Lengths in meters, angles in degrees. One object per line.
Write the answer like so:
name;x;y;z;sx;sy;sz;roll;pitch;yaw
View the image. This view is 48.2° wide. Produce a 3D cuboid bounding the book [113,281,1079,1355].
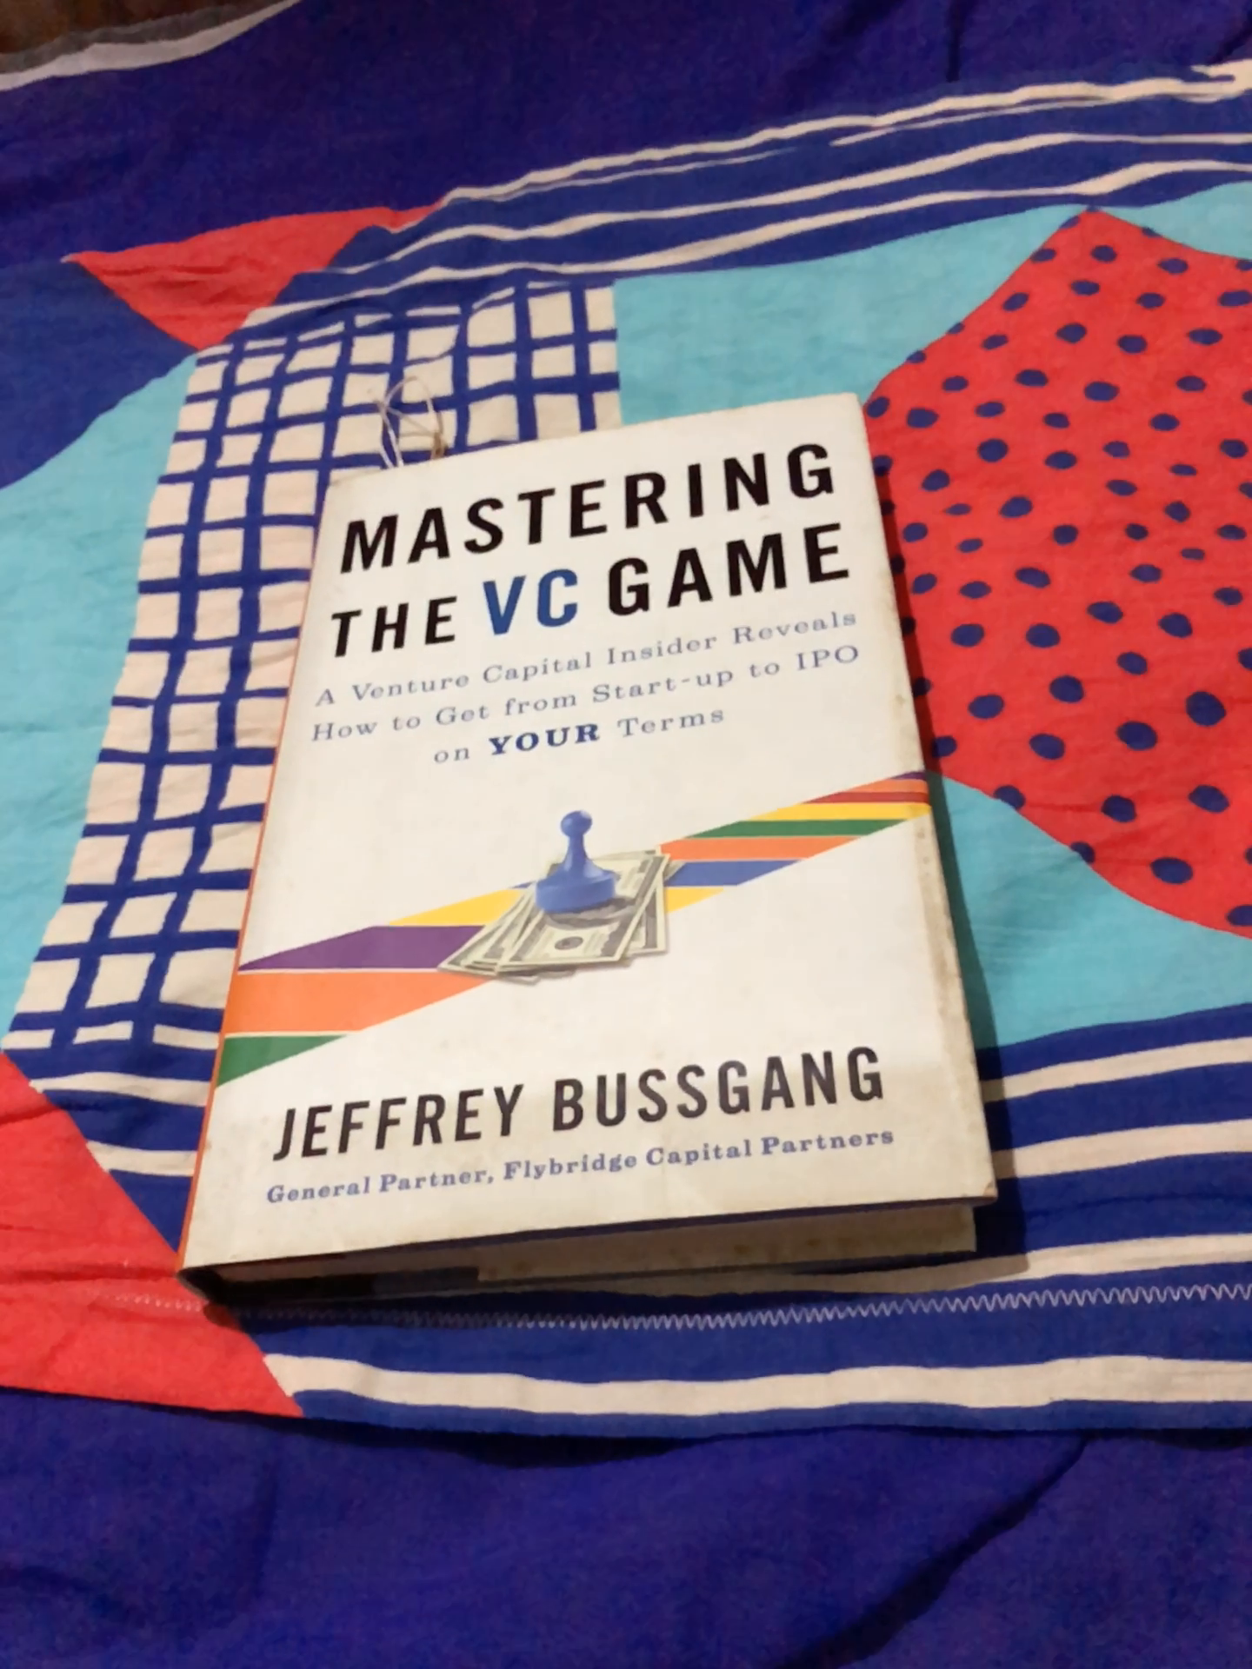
book;-0.006;-0.023;0.358;0.180;0.050;0.281;-7;53;9
